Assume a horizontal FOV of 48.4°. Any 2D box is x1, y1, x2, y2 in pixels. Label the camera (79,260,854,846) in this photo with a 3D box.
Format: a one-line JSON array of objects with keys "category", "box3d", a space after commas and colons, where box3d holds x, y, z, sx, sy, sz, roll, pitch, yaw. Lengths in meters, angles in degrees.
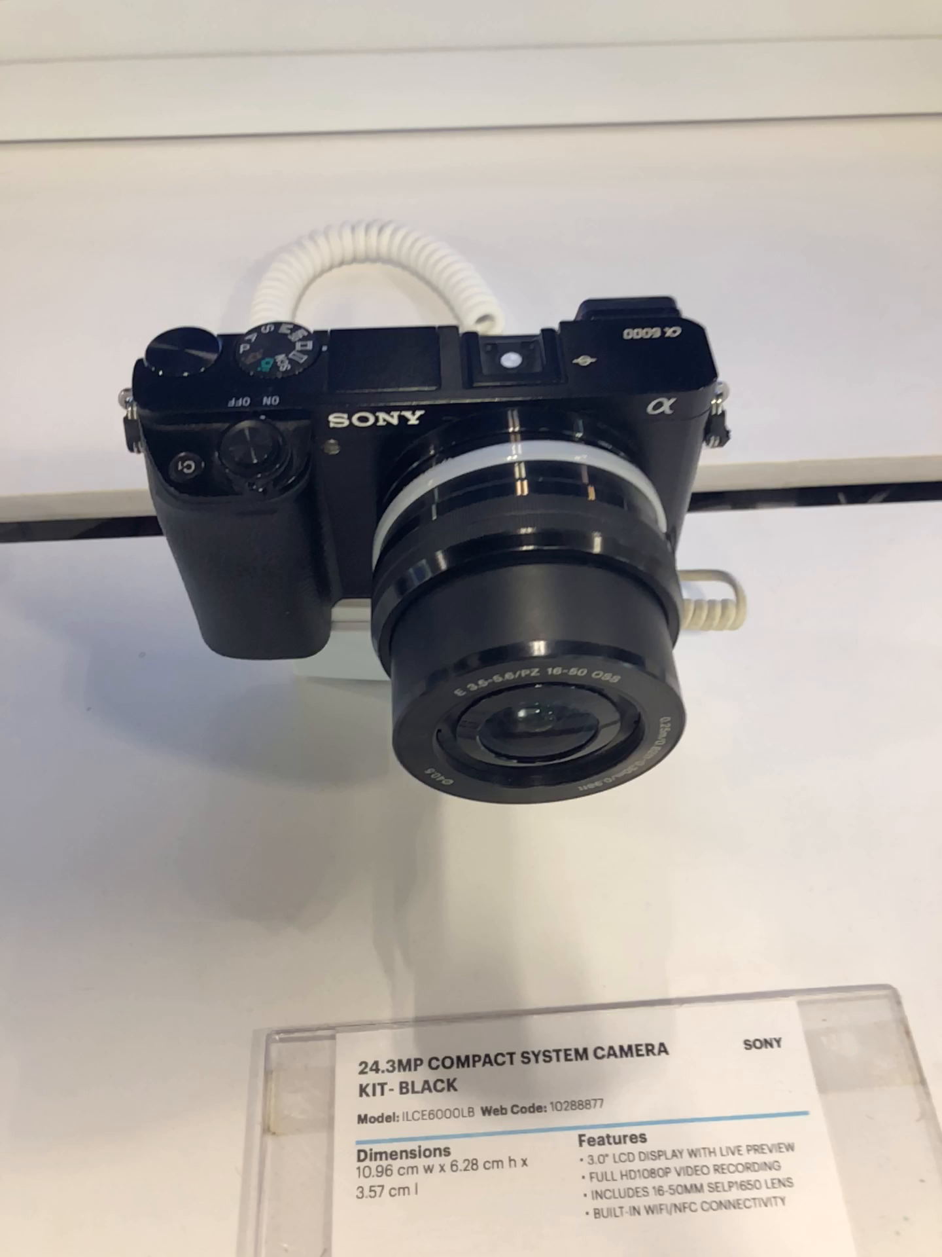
[{"category": "camera", "box3d": [-0.004, -0.018, 0.233, 0.130, 0.070, 0.101, -4, 54, -3]}]
